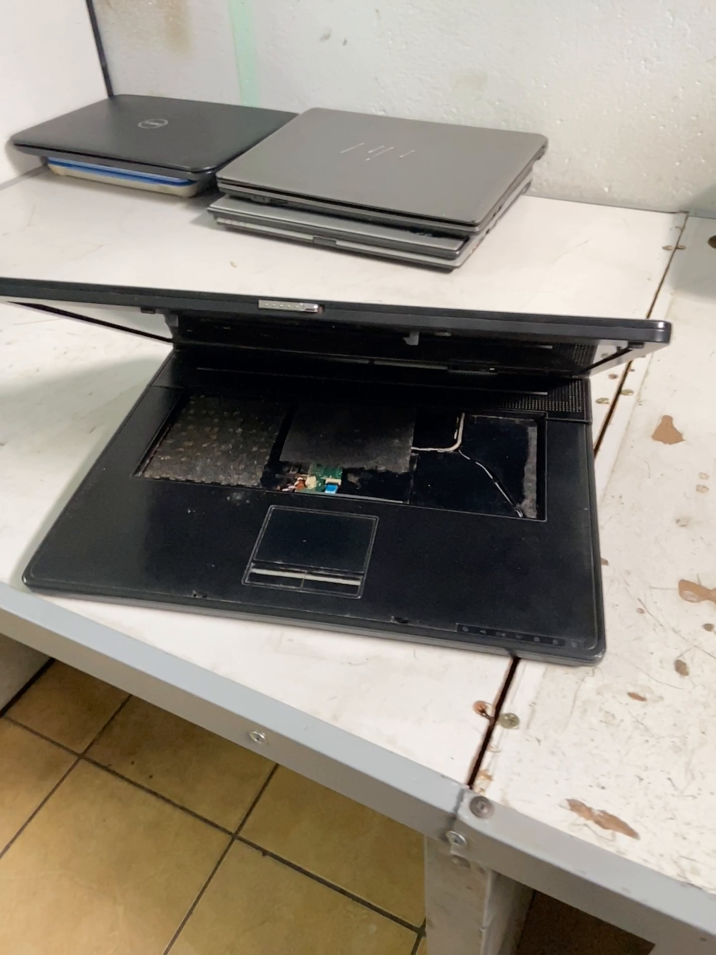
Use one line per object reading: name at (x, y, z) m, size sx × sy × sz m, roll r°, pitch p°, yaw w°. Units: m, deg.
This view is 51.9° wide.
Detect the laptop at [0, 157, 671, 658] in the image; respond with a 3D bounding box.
laptop at (-0.016, -0.069, 0.475) m, size 0.348 × 0.164 × 0.261 m, roll 6°, pitch 43°, yaw 10°
